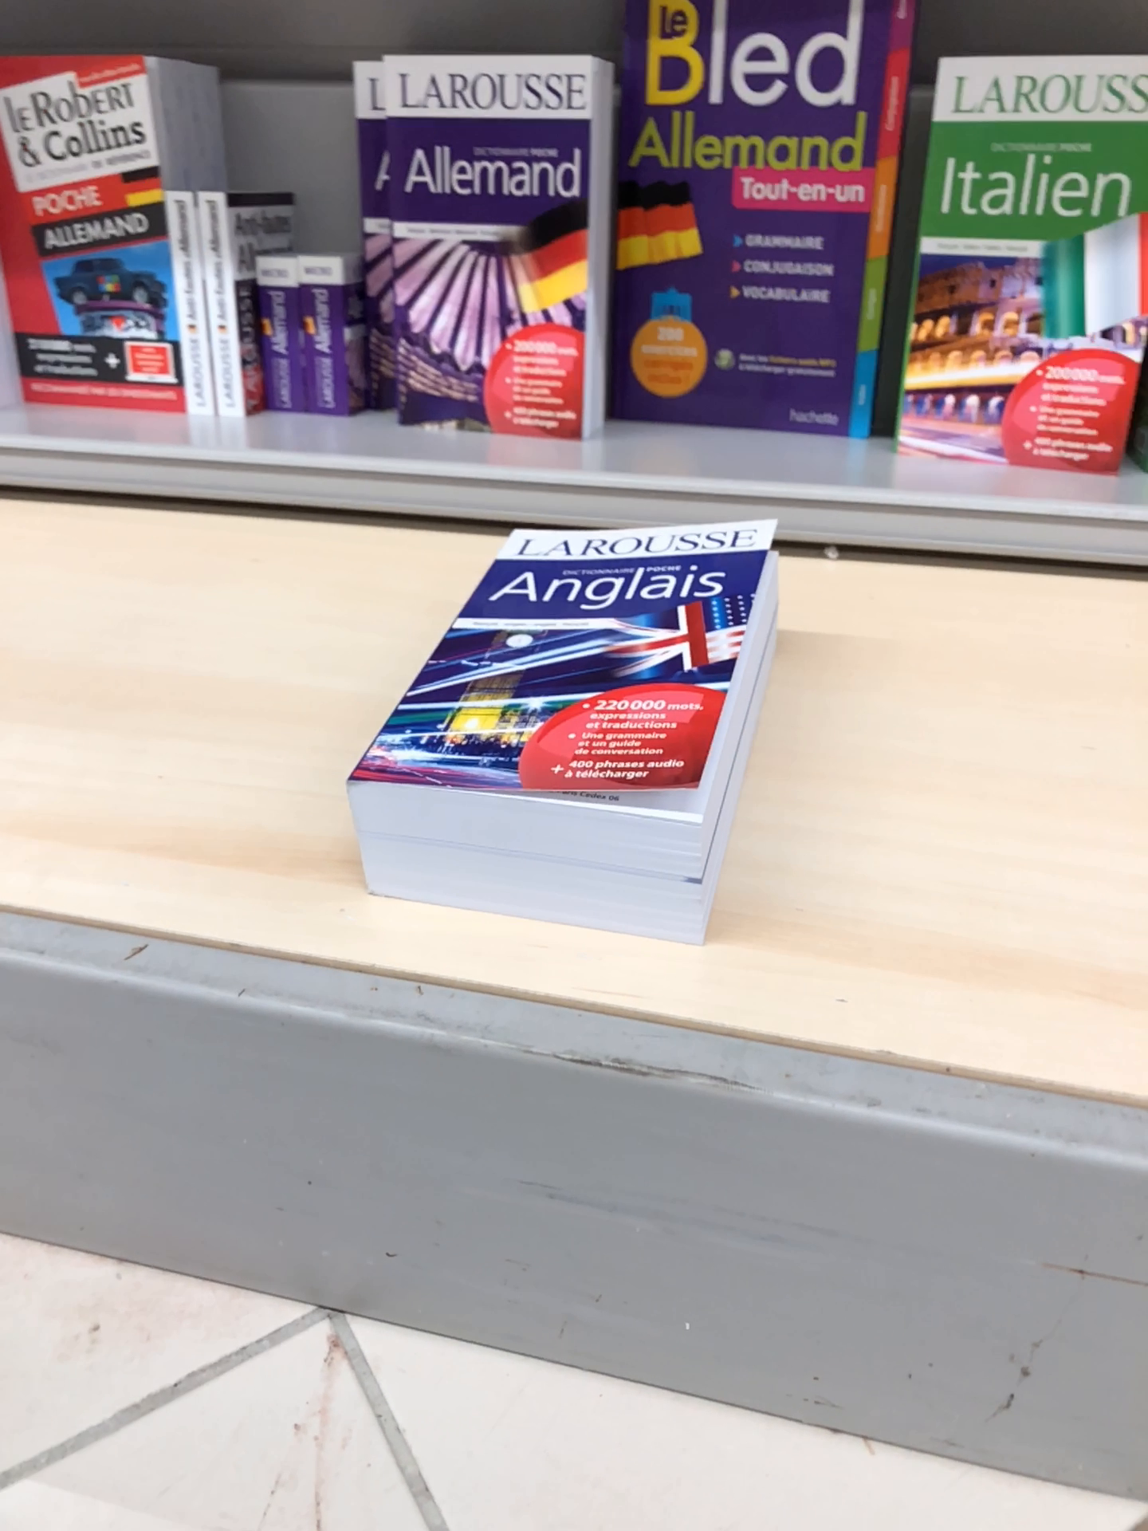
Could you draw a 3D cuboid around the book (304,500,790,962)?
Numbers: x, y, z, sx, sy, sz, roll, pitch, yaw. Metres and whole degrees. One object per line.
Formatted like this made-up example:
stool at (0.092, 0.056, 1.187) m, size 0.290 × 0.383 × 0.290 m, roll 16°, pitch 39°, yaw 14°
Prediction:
book at (0.003, -0.024, 0.437) m, size 0.117 × 0.054 × 0.182 m, roll 7°, pitch 37°, yaw 13°
